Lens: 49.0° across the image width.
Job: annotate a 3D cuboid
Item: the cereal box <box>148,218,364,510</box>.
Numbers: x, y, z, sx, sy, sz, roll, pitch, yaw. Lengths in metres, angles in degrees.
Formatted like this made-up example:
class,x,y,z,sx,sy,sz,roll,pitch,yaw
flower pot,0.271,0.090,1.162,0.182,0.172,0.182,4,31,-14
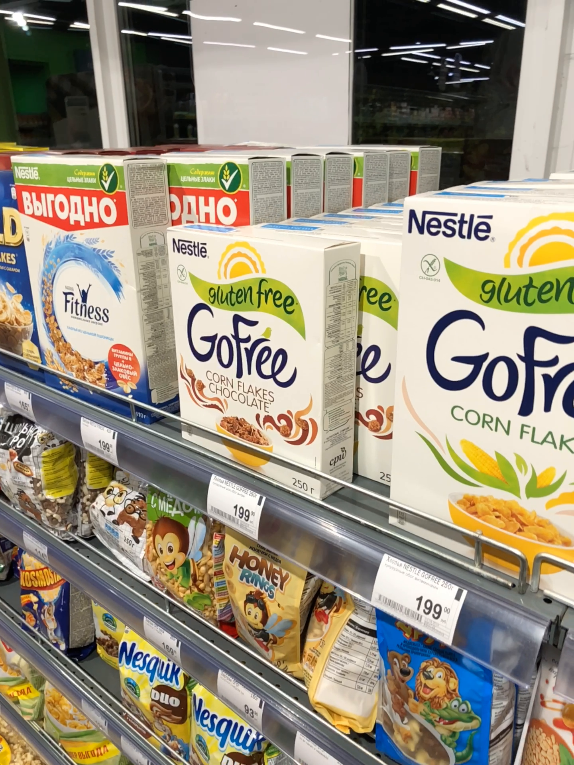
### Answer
class,x,y,z,sx,sy,sz,roll,pitch,yaw
cereal box,-0.034,-0.028,0.573,0.200,0.219,0.060,17,26,40
